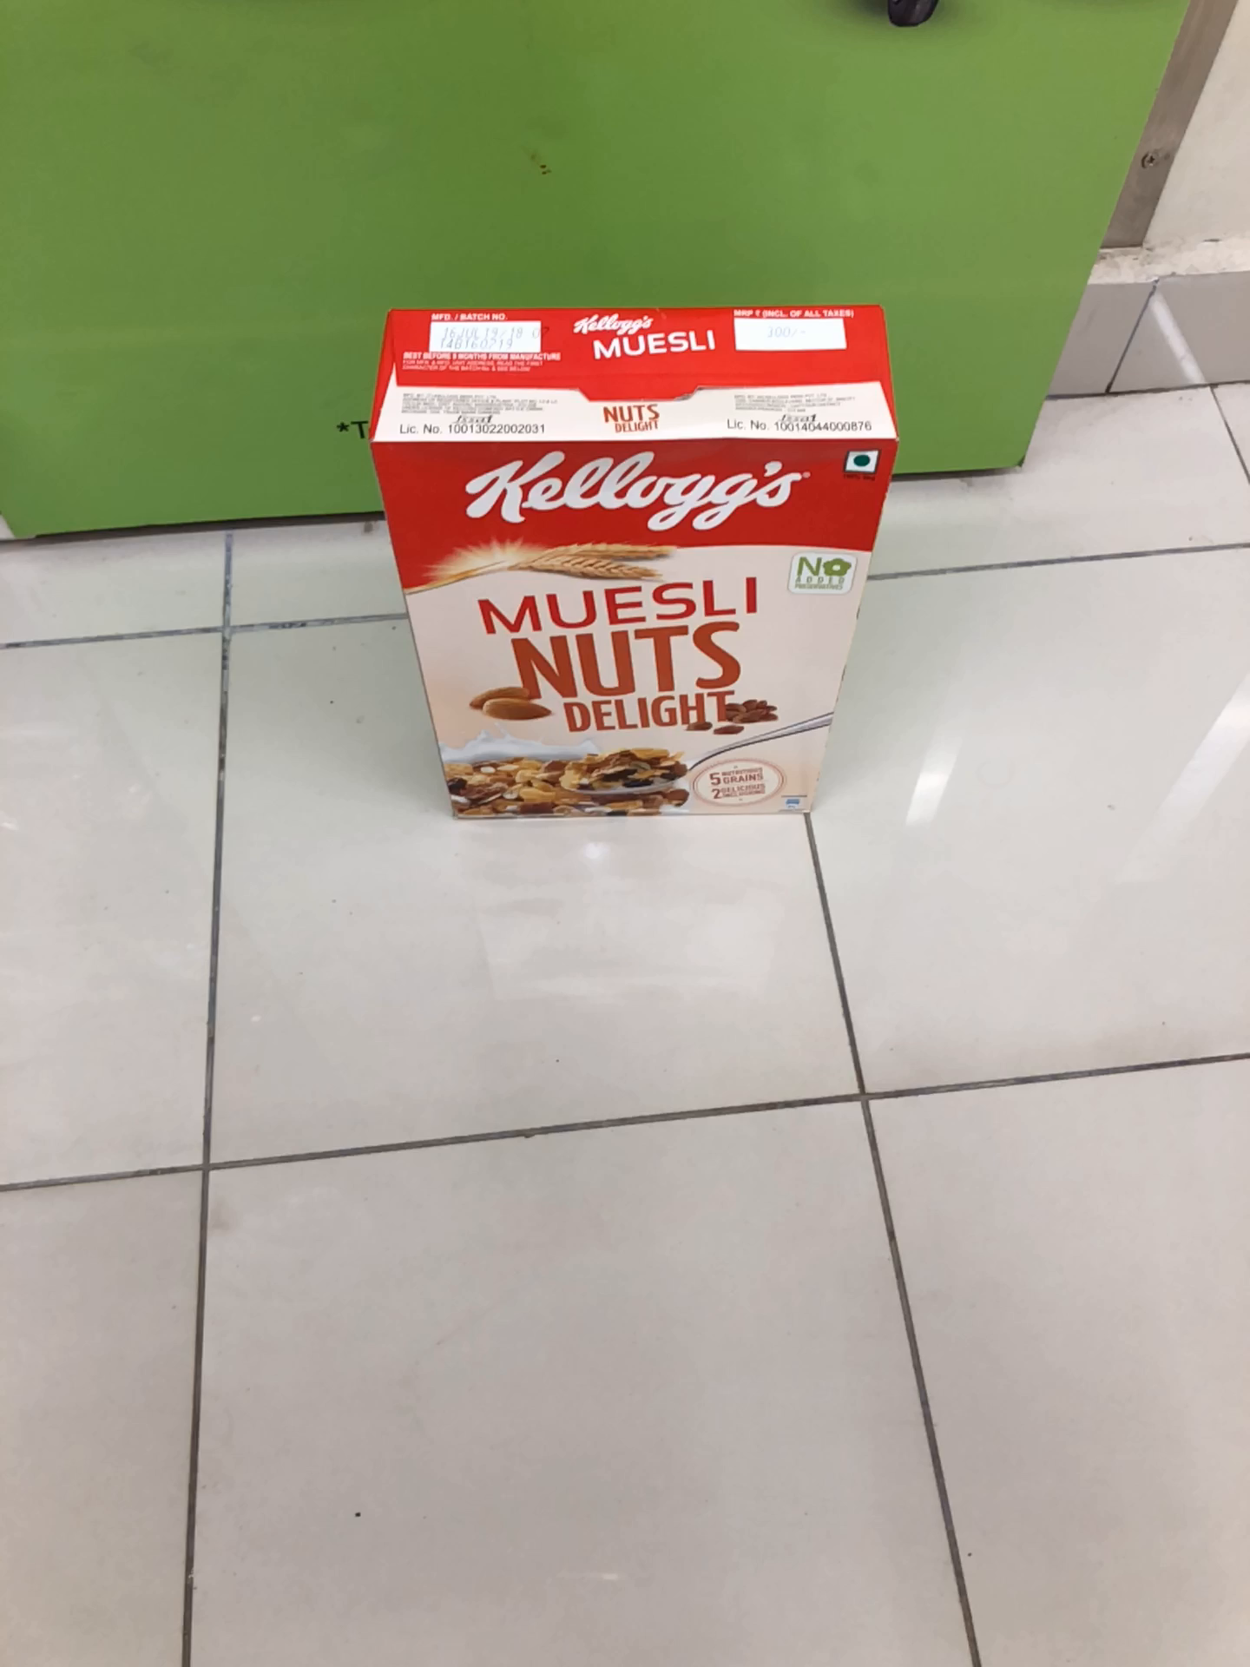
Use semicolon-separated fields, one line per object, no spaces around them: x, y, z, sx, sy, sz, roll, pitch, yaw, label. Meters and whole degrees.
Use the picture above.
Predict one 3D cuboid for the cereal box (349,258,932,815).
0.003;-0.112;0.609;0.200;0.269;0.080;0;60;-1;cereal box
